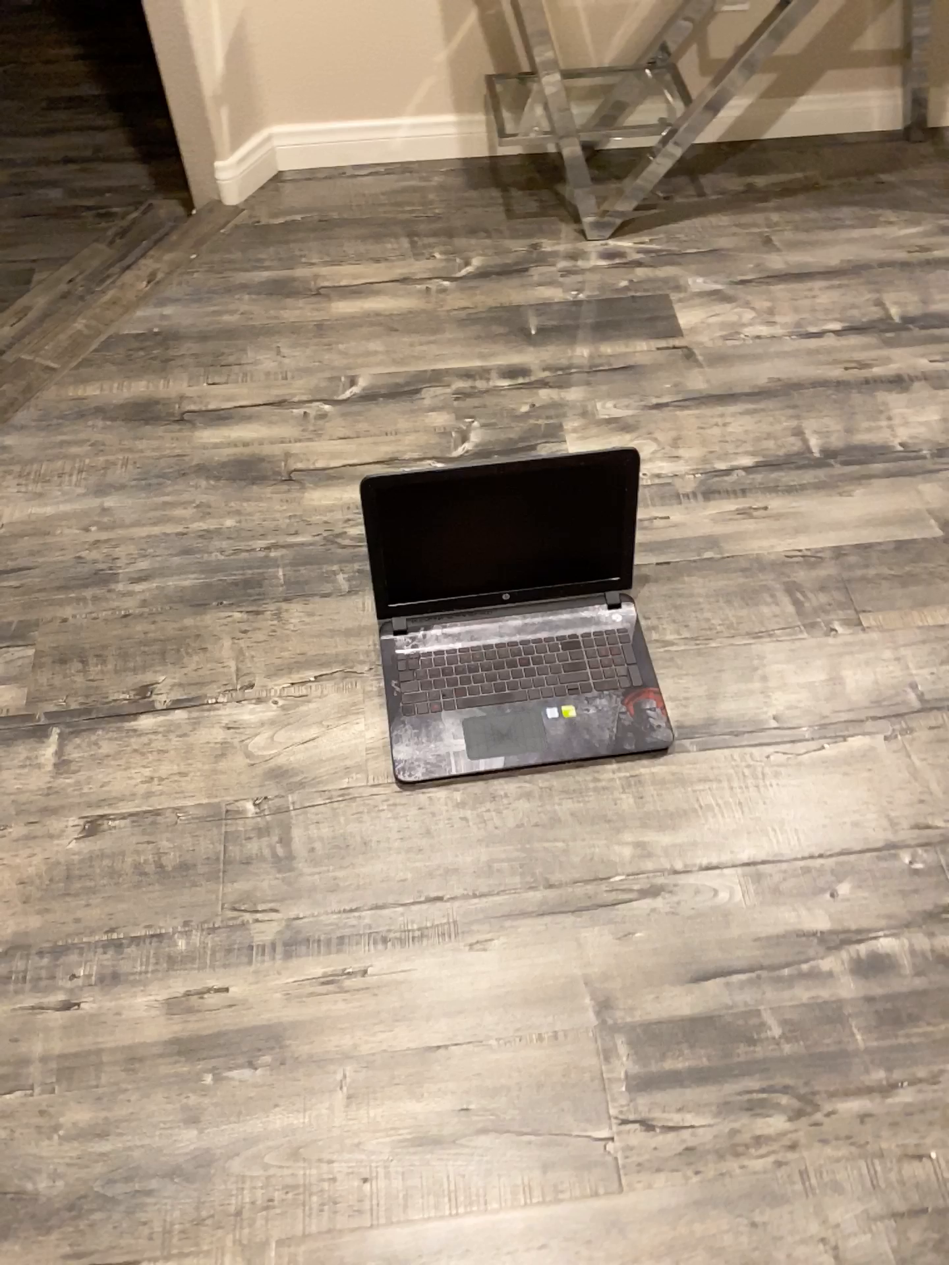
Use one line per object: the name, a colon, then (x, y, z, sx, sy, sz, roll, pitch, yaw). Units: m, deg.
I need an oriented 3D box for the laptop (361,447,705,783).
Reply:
laptop: (0.059, -0.026, 1.277, 0.371, 0.225, 0.328, -7, 55, -5)
